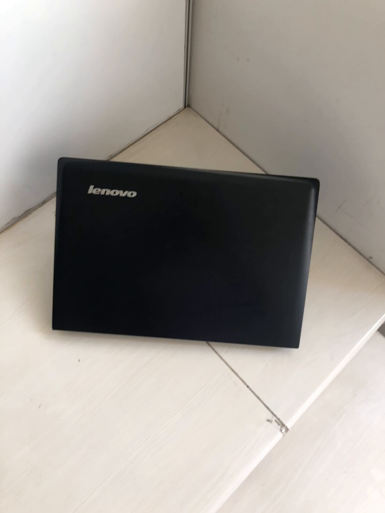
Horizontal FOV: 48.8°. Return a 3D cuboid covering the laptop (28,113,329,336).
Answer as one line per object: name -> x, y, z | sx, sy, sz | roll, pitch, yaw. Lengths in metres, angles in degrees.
laptop -> -0.009, -0.039, 0.644 | 0.374, 0.162, 0.253 | 5, 69, -1
